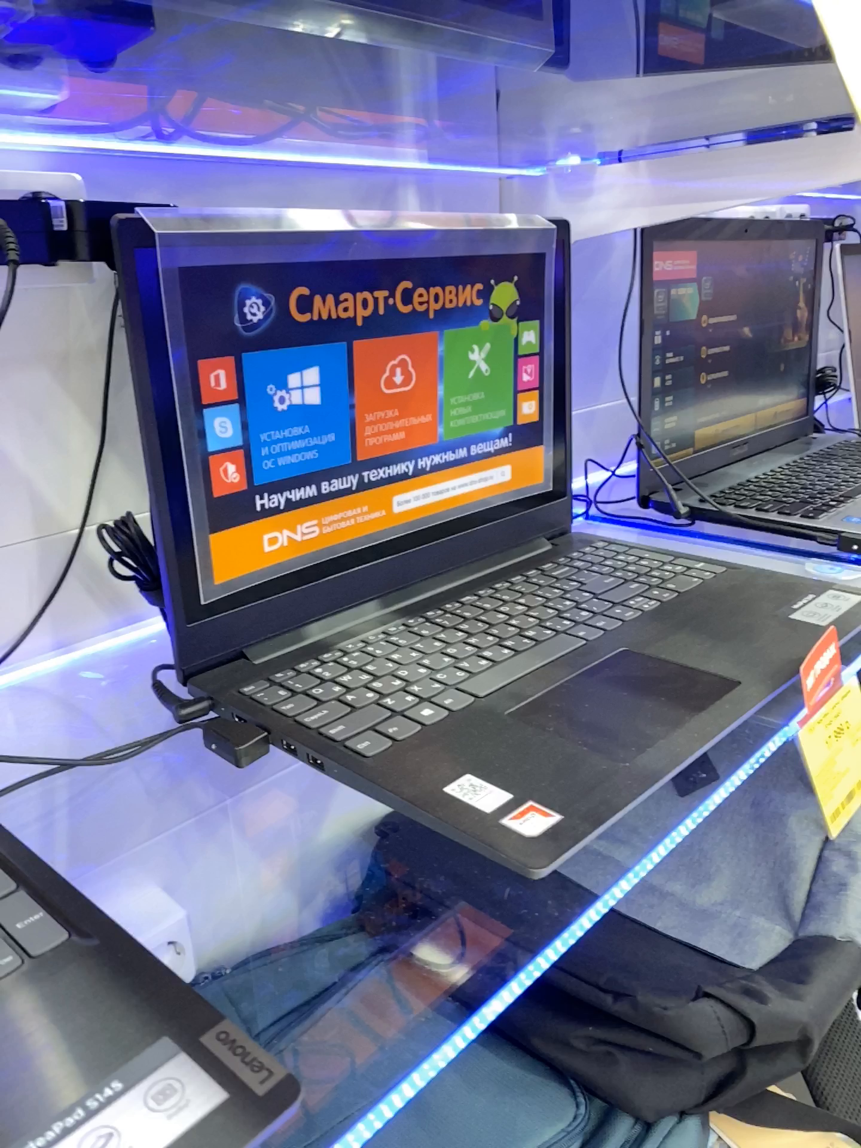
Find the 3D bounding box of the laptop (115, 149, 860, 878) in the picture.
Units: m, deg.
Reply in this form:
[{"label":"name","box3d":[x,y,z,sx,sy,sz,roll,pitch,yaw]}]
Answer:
[{"label":"laptop","box3d":[0.073,-0.075,0.489,0.258,0.239,0.362,15,25,43]}]
